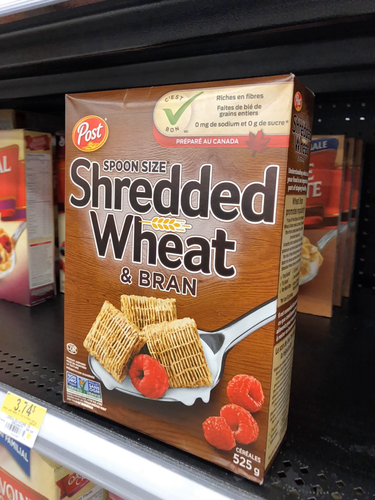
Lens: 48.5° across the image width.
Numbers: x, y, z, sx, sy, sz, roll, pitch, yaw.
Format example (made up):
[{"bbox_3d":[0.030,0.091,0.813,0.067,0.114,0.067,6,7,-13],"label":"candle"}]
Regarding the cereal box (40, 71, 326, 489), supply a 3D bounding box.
[{"bbox_3d":[-0.017,0.012,0.328,0.210,0.259,0.060,8,10,28],"label":"cereal box"}]
